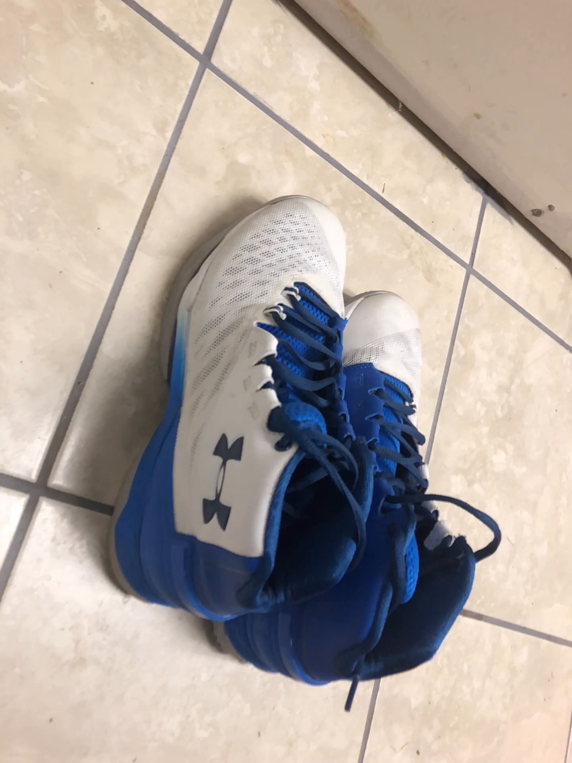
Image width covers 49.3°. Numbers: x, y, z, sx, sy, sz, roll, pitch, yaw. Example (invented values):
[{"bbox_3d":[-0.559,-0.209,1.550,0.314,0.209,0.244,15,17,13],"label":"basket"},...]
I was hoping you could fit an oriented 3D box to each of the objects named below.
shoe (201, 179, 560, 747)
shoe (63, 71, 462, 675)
[{"bbox_3d":[0.076,0.045,0.431,0.120,0.130,0.322,30,66,-31],"label":"shoe"},{"bbox_3d":[-0.002,-0.008,0.381,0.120,0.100,0.310,29,70,-32],"label":"shoe"}]
